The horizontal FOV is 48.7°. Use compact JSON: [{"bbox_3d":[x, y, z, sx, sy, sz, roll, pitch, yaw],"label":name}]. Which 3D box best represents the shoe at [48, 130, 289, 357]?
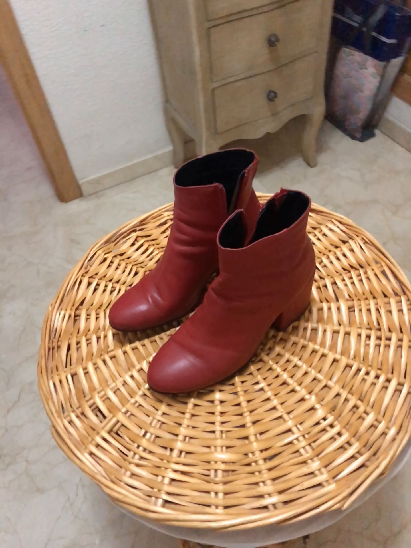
[{"bbox_3d":[-0.033,-0.034,0.563,0.245,0.184,0.099,-24,53,-14],"label":"shoe"}]

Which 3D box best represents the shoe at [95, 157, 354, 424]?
[{"bbox_3d":[0.031,0.020,0.510,0.245,0.184,0.099,-34,55,-20],"label":"shoe"}]
